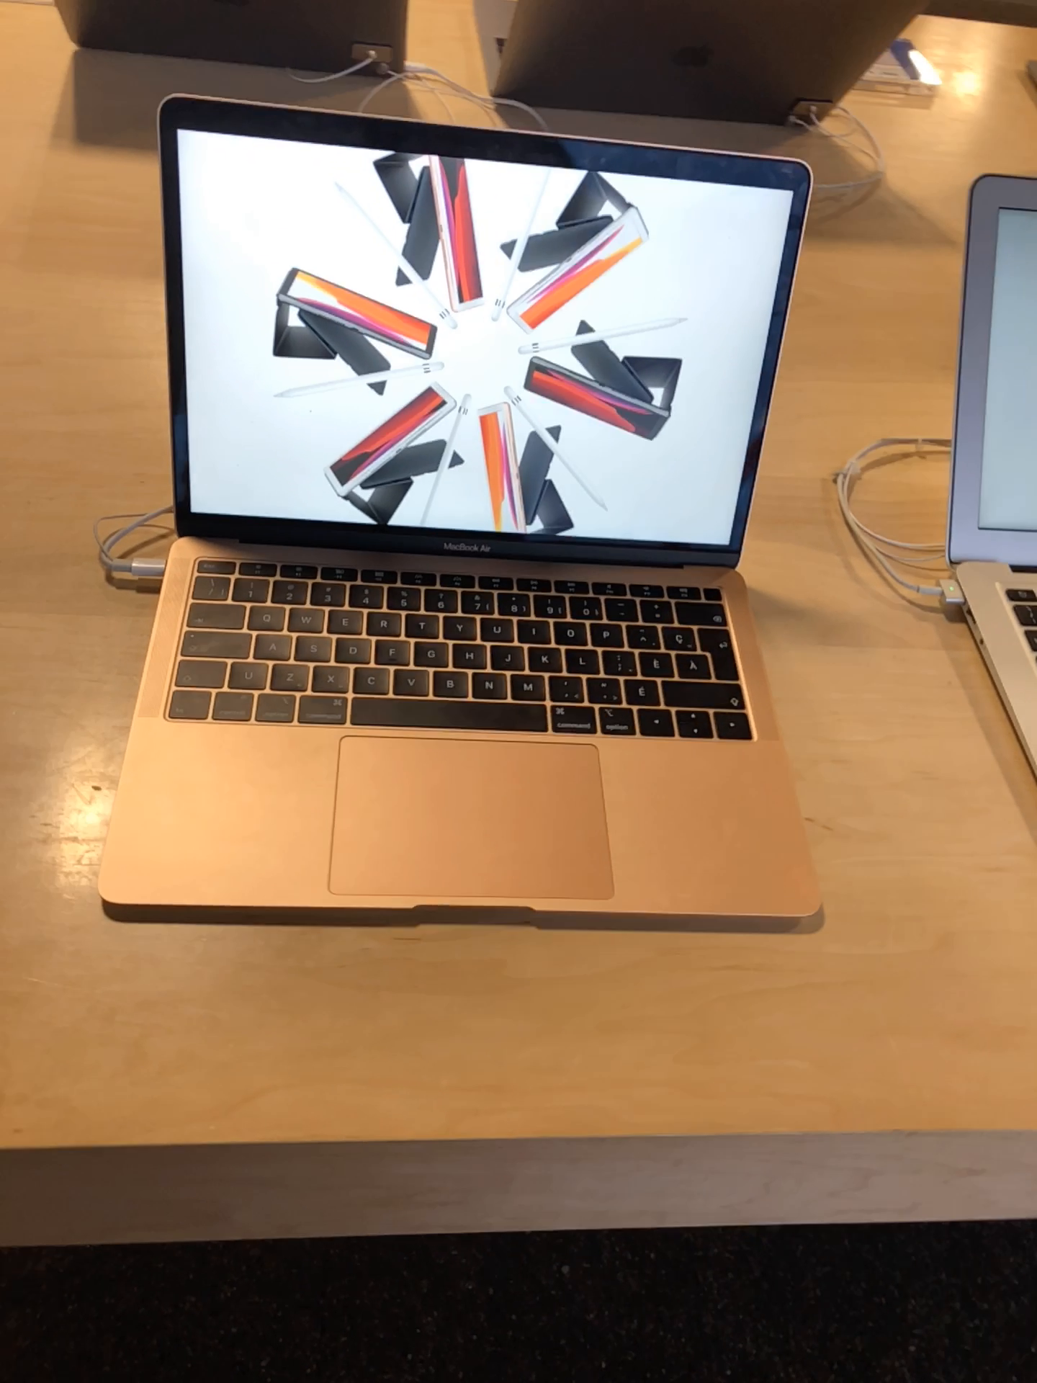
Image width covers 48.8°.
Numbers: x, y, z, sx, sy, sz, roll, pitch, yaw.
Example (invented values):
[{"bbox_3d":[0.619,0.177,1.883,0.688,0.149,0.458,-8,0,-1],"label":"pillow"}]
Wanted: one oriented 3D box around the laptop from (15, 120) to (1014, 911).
[{"bbox_3d":[-0.010,-0.080,0.495,0.291,0.183,0.284,3,48,-6],"label":"laptop"}]
